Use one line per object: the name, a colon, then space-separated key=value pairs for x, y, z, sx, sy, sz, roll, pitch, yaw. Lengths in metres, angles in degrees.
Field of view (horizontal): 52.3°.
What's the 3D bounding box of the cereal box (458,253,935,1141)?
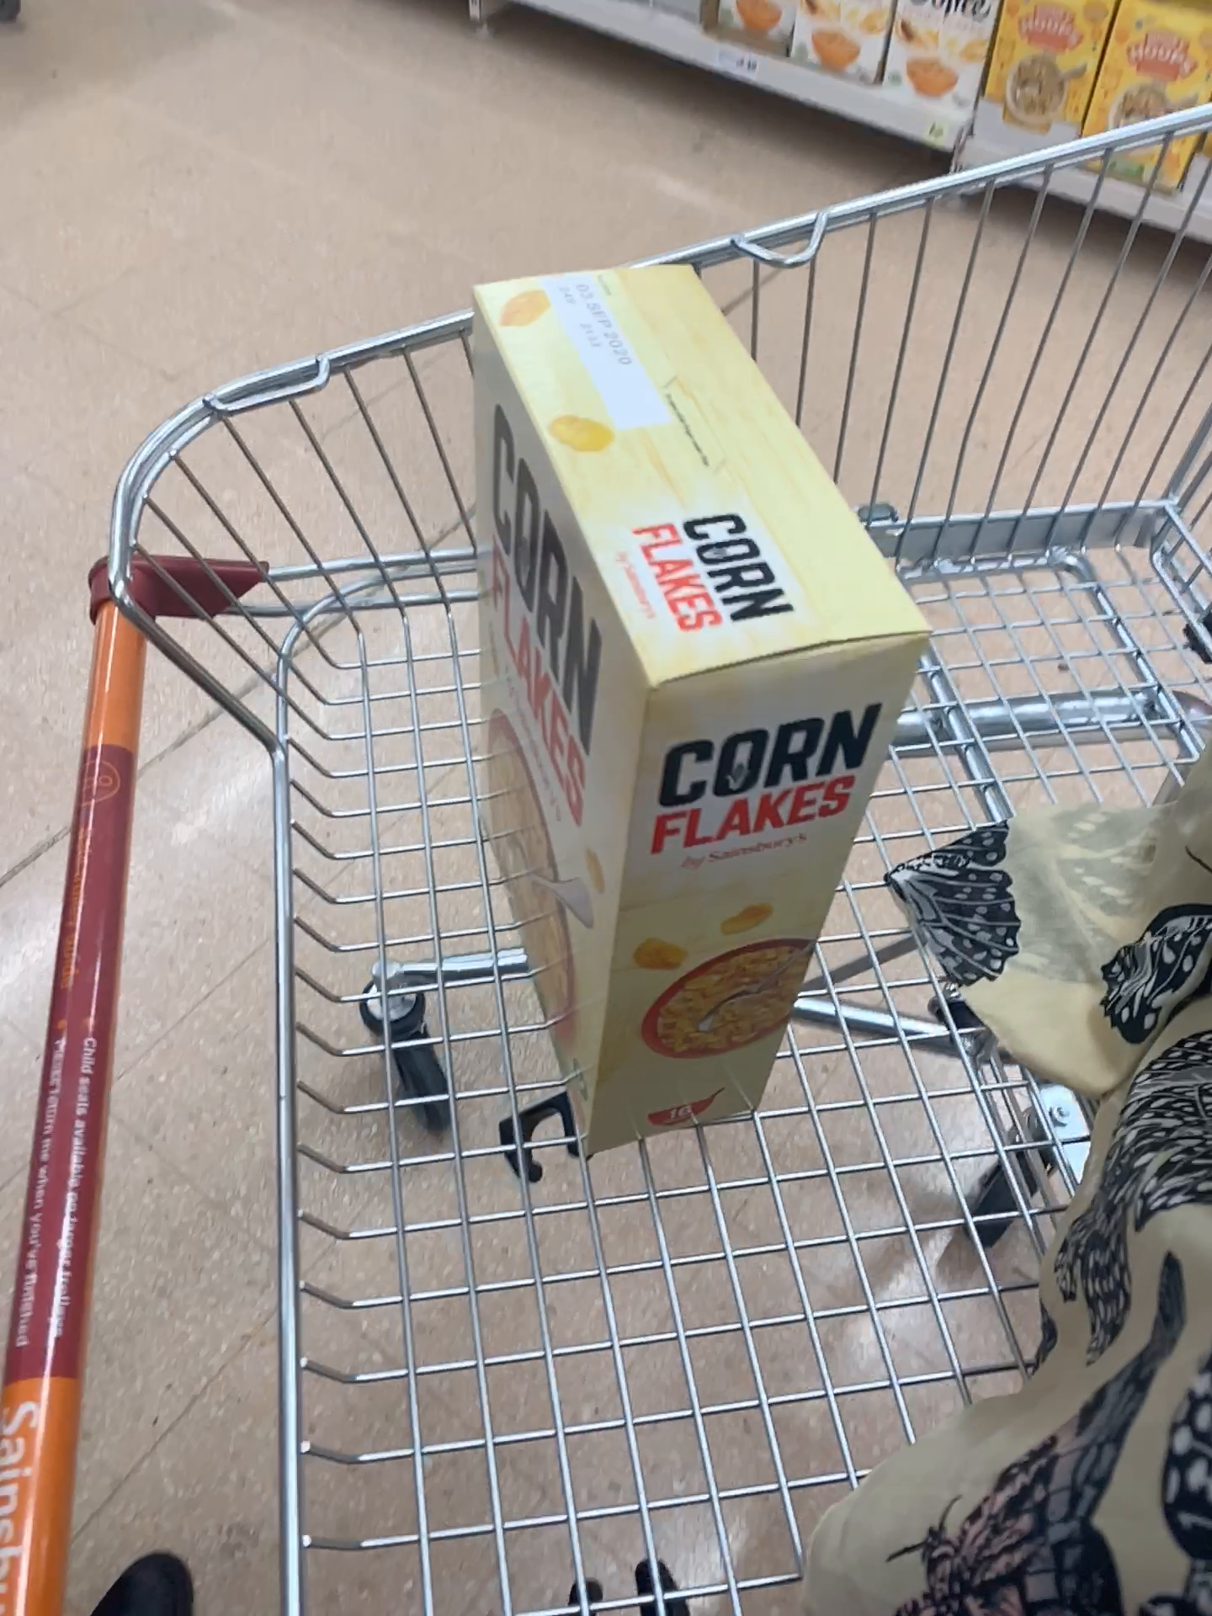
cereal box: x=0.010 y=-0.027 z=0.474 sx=0.080 sy=0.277 sz=0.192 roll=-12 pitch=54 yaw=-13
